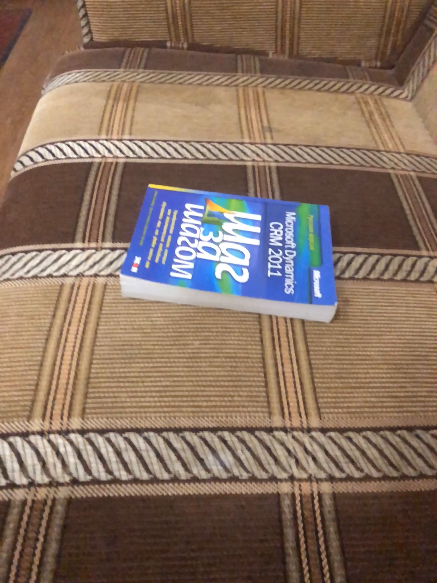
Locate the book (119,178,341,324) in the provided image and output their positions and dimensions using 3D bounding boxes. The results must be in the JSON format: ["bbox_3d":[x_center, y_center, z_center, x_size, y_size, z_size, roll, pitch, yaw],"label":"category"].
[{"bbox_3d":[0.016,-0.047,0.492,0.200,0.030,0.152,6,49,1],"label":"book"}]
